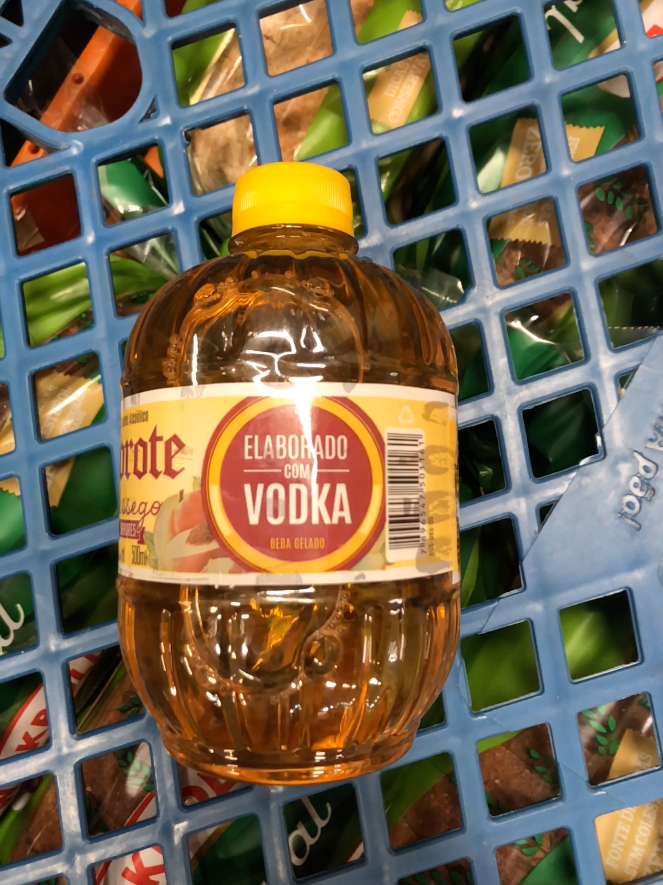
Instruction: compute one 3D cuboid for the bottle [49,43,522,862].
[{"bbox_3d":[-0.011,0.002,0.170,0.080,0.070,0.130,-3,86,39],"label":"bottle"}]
